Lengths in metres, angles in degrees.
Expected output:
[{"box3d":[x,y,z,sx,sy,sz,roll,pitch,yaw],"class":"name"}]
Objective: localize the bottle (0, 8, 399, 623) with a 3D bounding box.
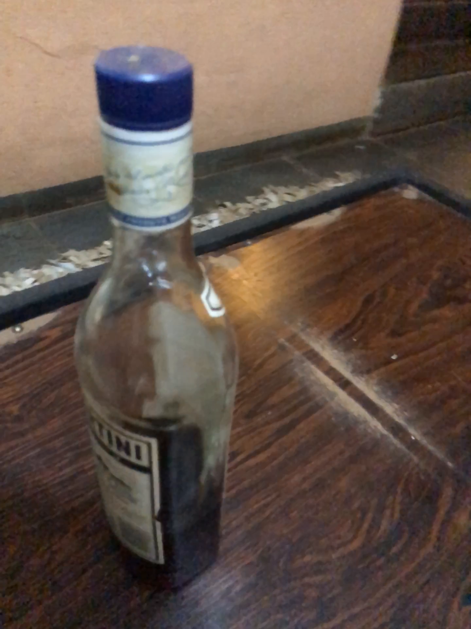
[{"box3d":[-0.032,0.026,0.262,0.090,0.298,0.100,-19,47,-29],"class":"bottle"}]
